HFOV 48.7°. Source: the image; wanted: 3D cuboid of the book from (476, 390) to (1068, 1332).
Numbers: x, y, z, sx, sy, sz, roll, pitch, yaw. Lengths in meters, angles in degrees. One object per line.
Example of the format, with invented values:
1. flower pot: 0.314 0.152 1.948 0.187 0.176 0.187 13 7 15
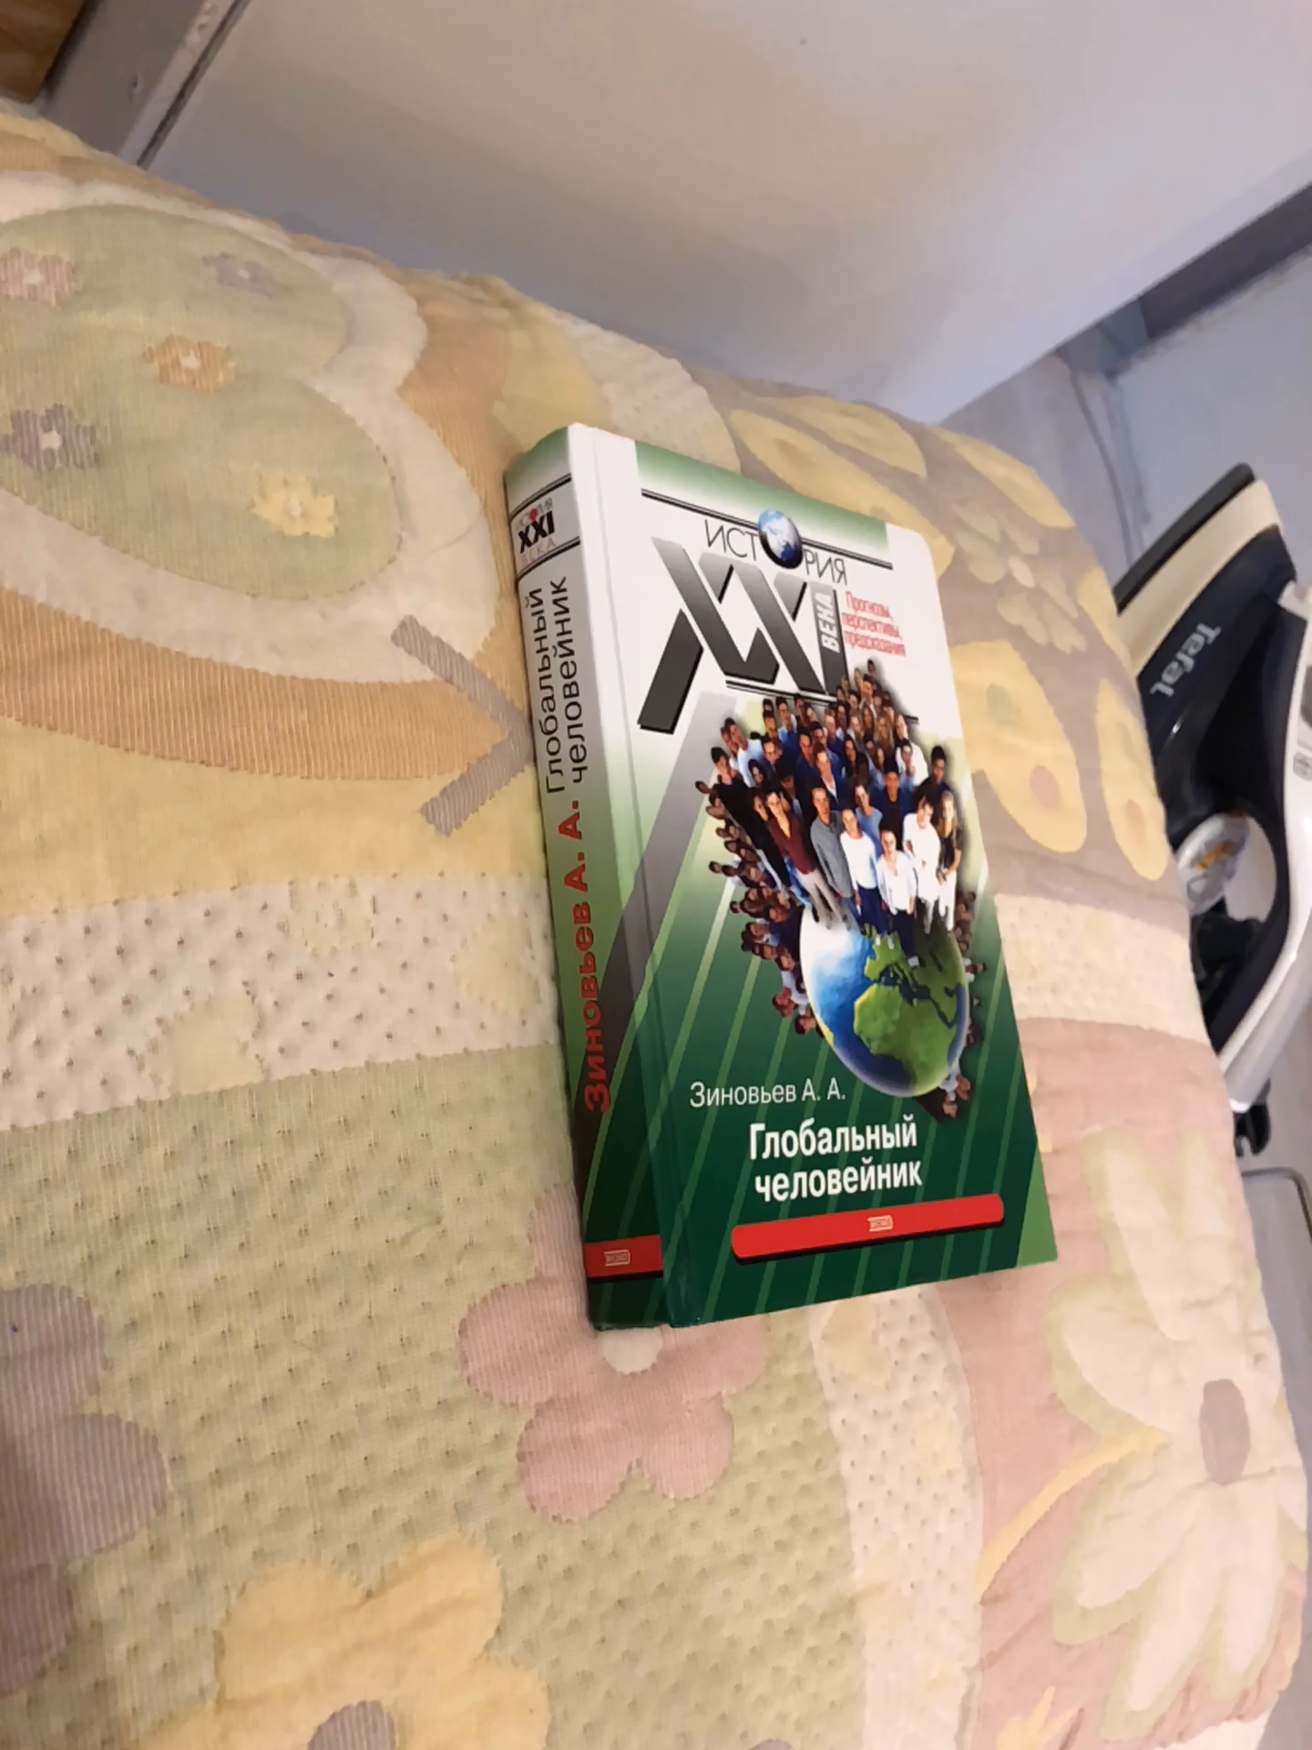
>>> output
1. book: 0.030 -0.003 0.363 0.134 0.035 0.207 5 71 -40
